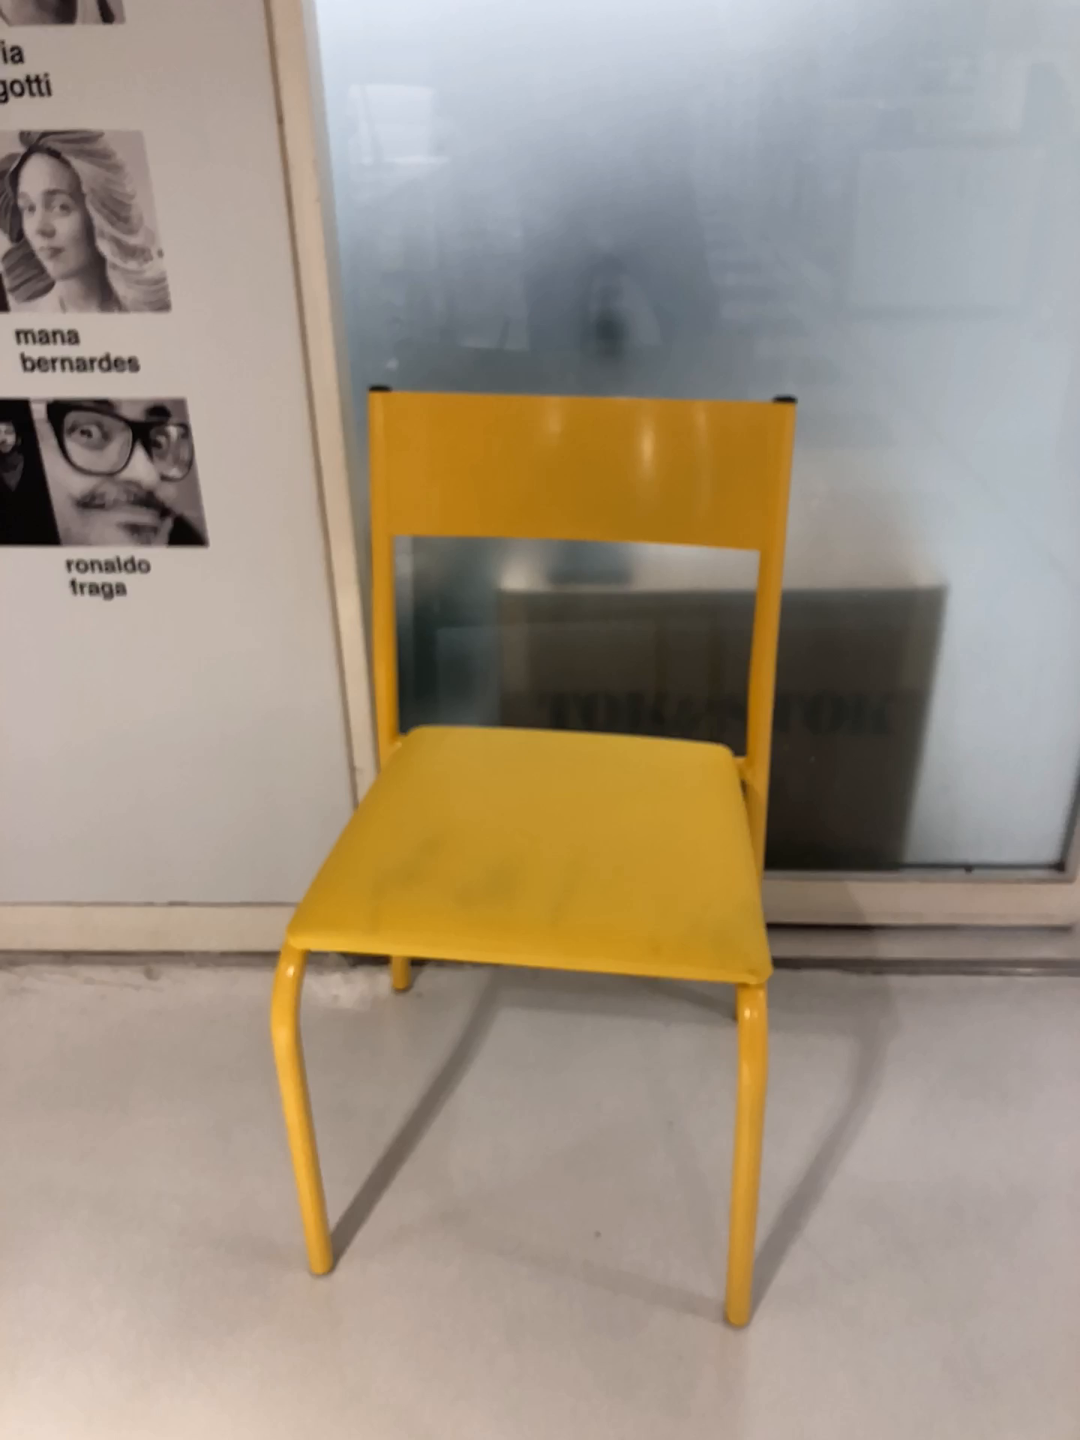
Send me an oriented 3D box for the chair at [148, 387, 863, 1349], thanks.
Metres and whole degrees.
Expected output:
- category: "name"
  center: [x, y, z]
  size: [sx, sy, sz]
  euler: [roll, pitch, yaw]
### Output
- category: "chair"
  center: [0.010, 0.125, 1.228]
  size: [0.490, 0.784, 0.524]
  euler: [3, 30, 7]
